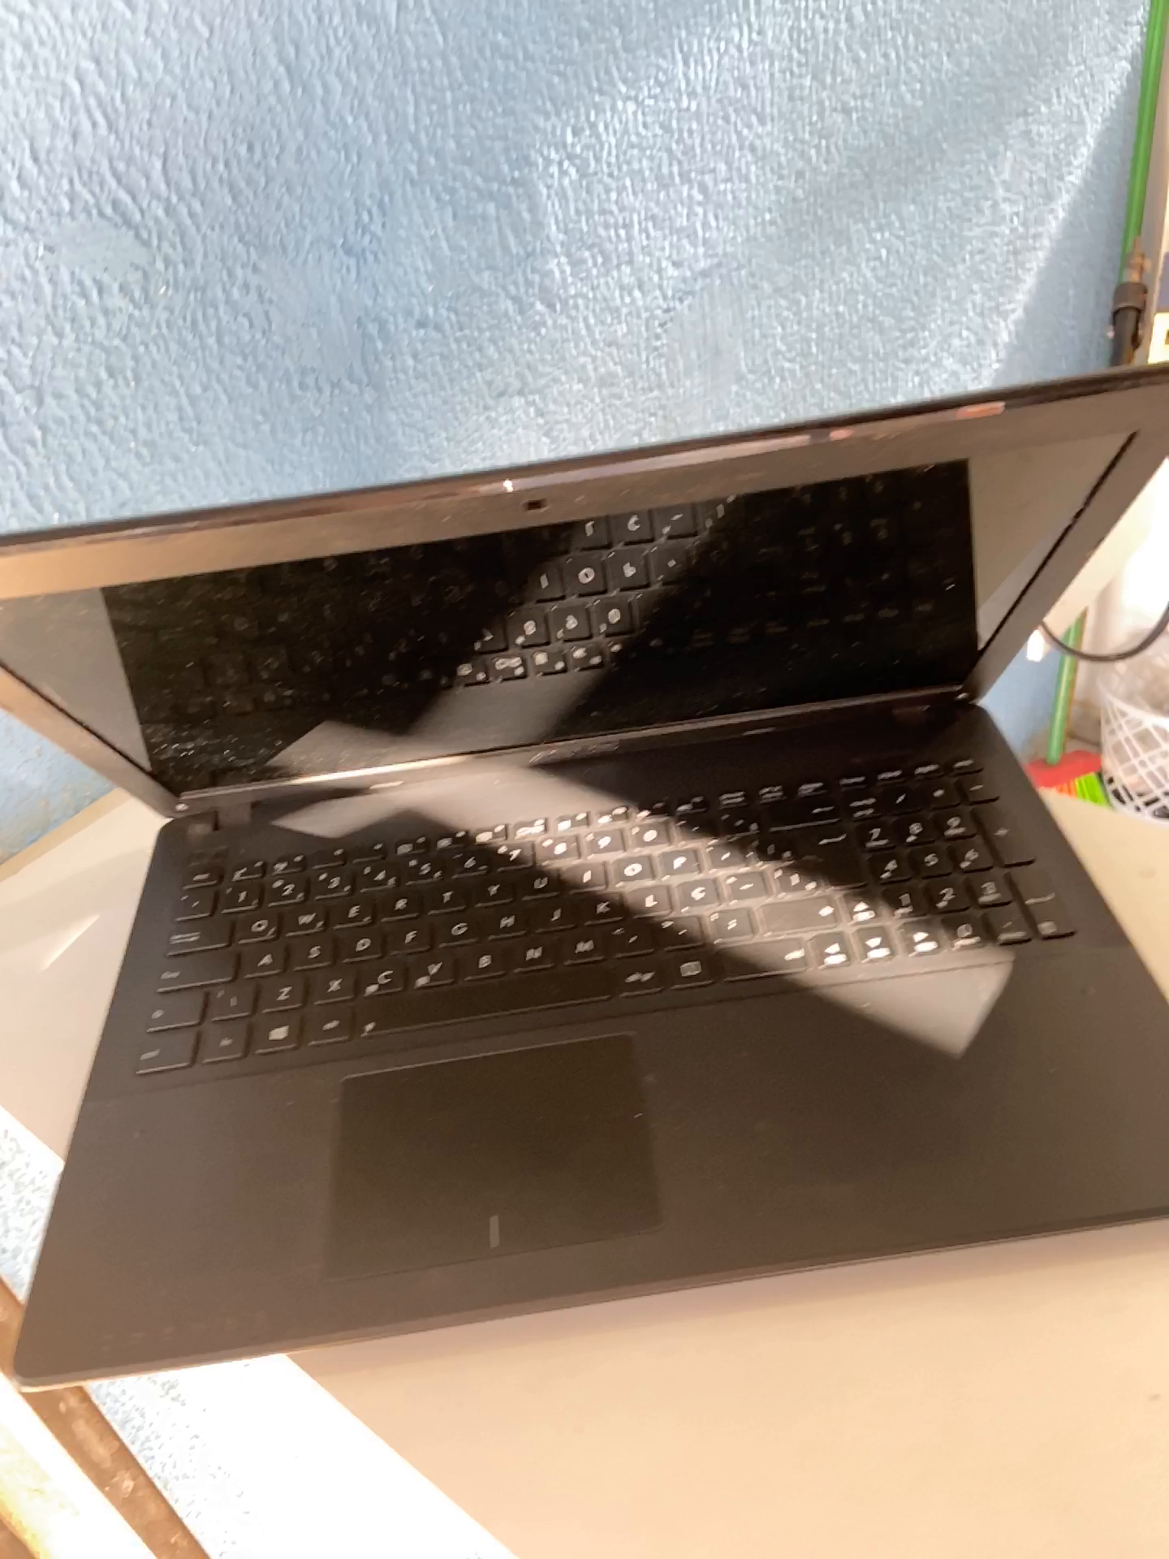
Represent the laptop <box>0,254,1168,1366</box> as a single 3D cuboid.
[{"bbox_3d":[-0.004,-0.006,0.388,0.373,0.190,0.240,-9,38,1],"label":"laptop"}]
